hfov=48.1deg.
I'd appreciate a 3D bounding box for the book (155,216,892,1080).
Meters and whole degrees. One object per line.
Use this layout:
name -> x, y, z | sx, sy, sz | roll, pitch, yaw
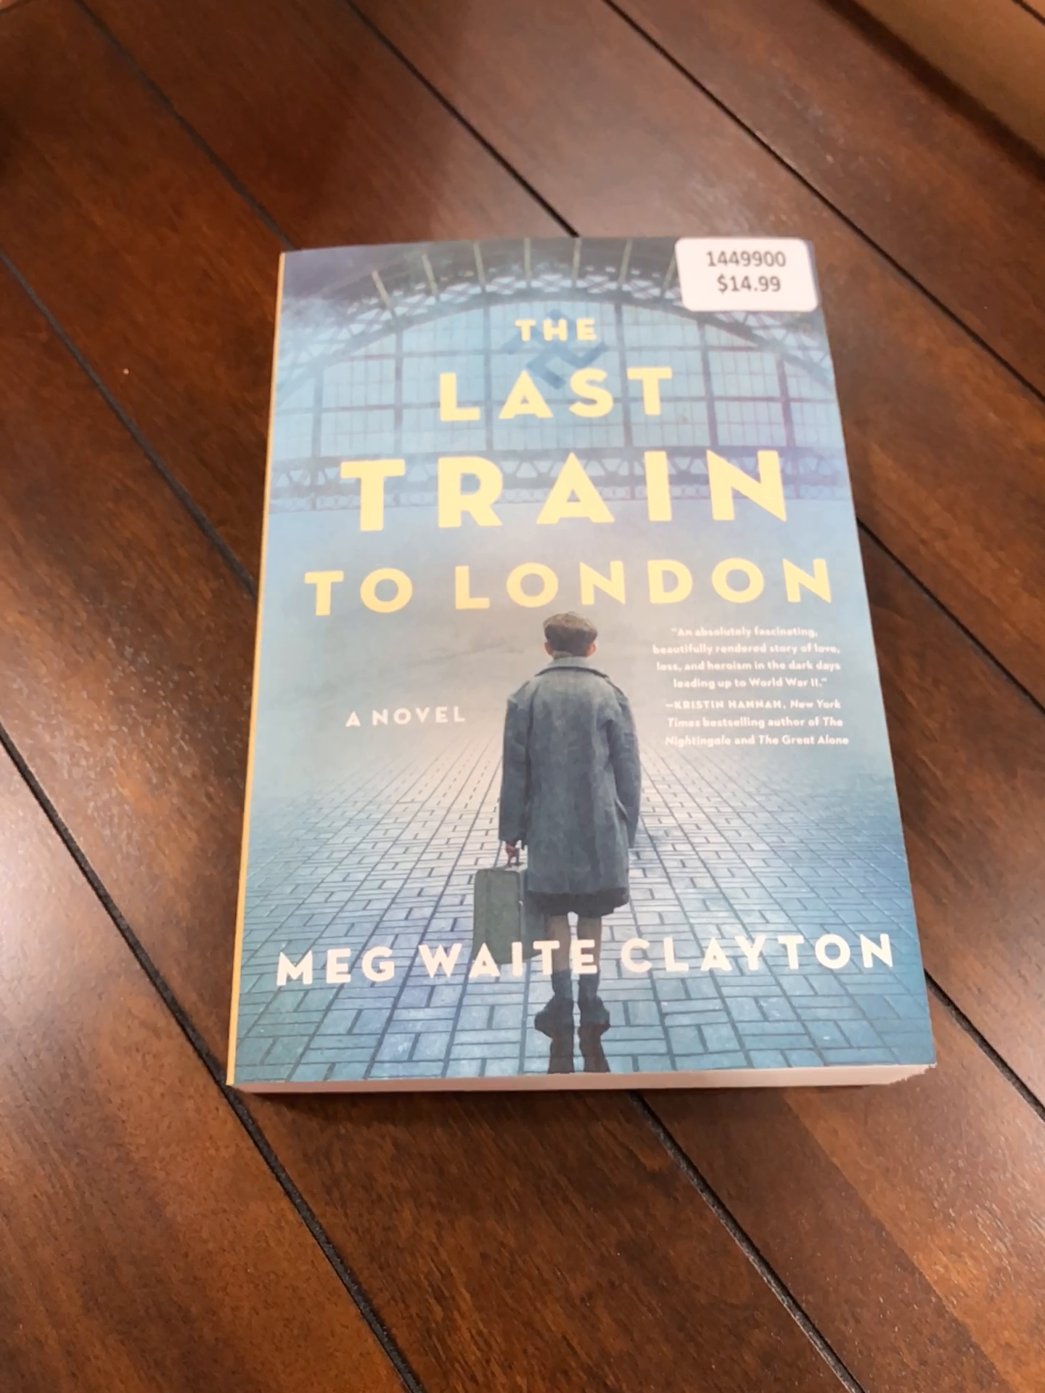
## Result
book -> 0.000, -0.019, 0.298 | 0.151, 0.041, 0.220 | 0, 69, 1
